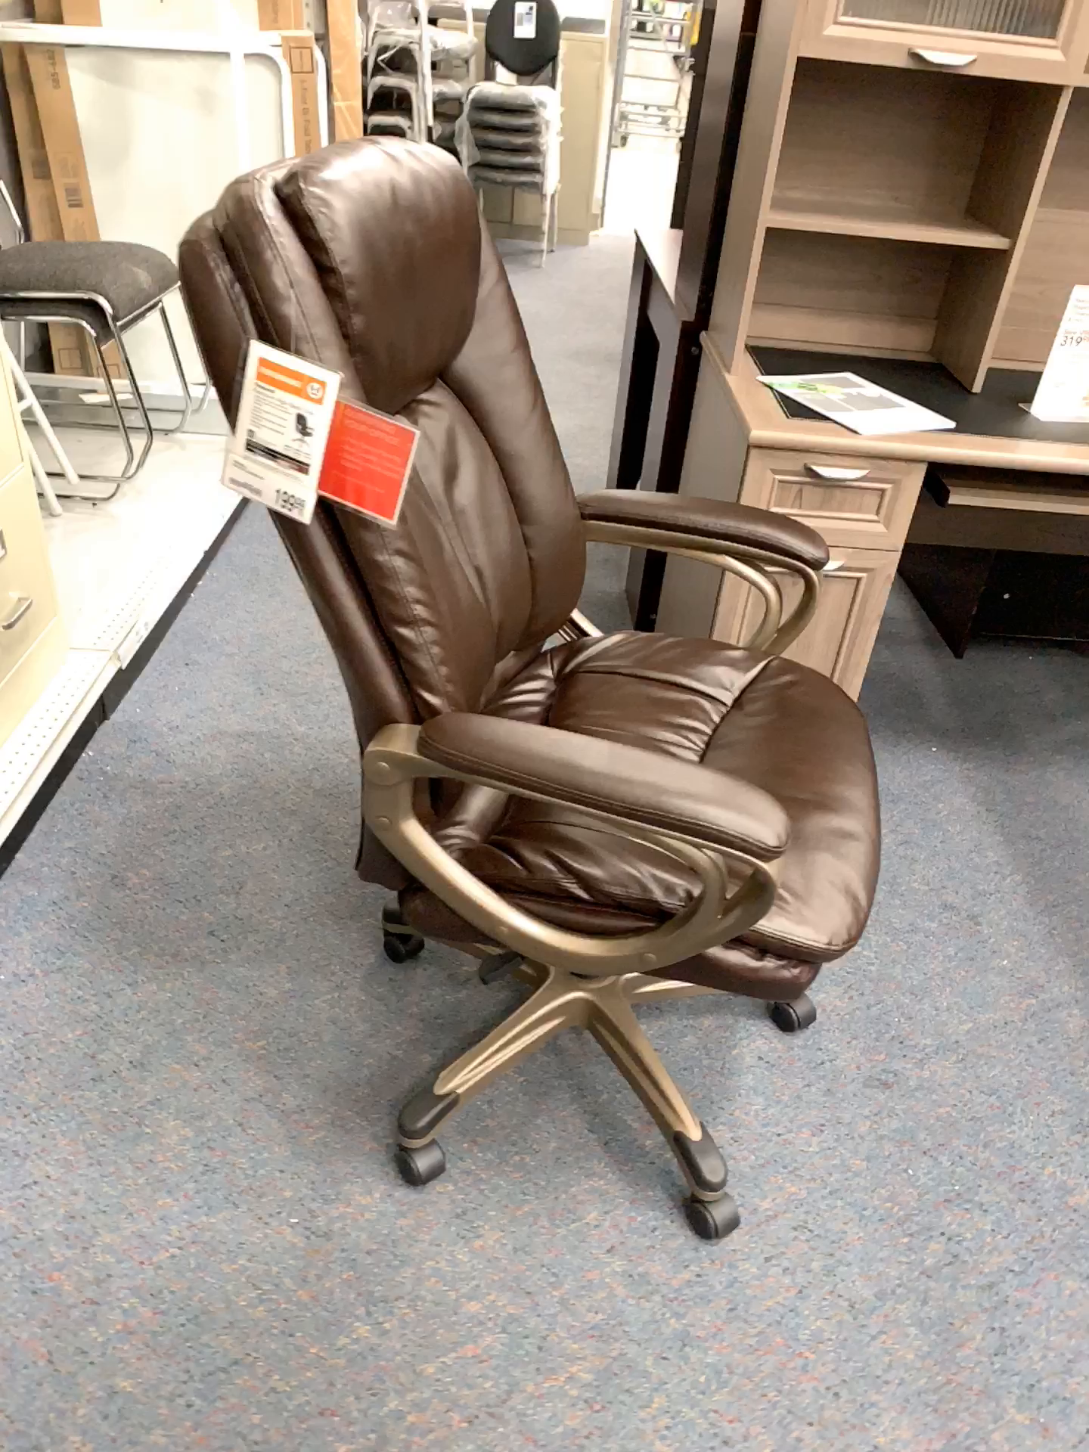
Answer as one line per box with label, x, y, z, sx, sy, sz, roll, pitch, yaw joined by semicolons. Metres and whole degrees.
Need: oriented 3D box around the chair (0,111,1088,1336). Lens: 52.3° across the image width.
chair;0.039;-0.041;1.344;0.812;1.112;0.728;14;35;12
